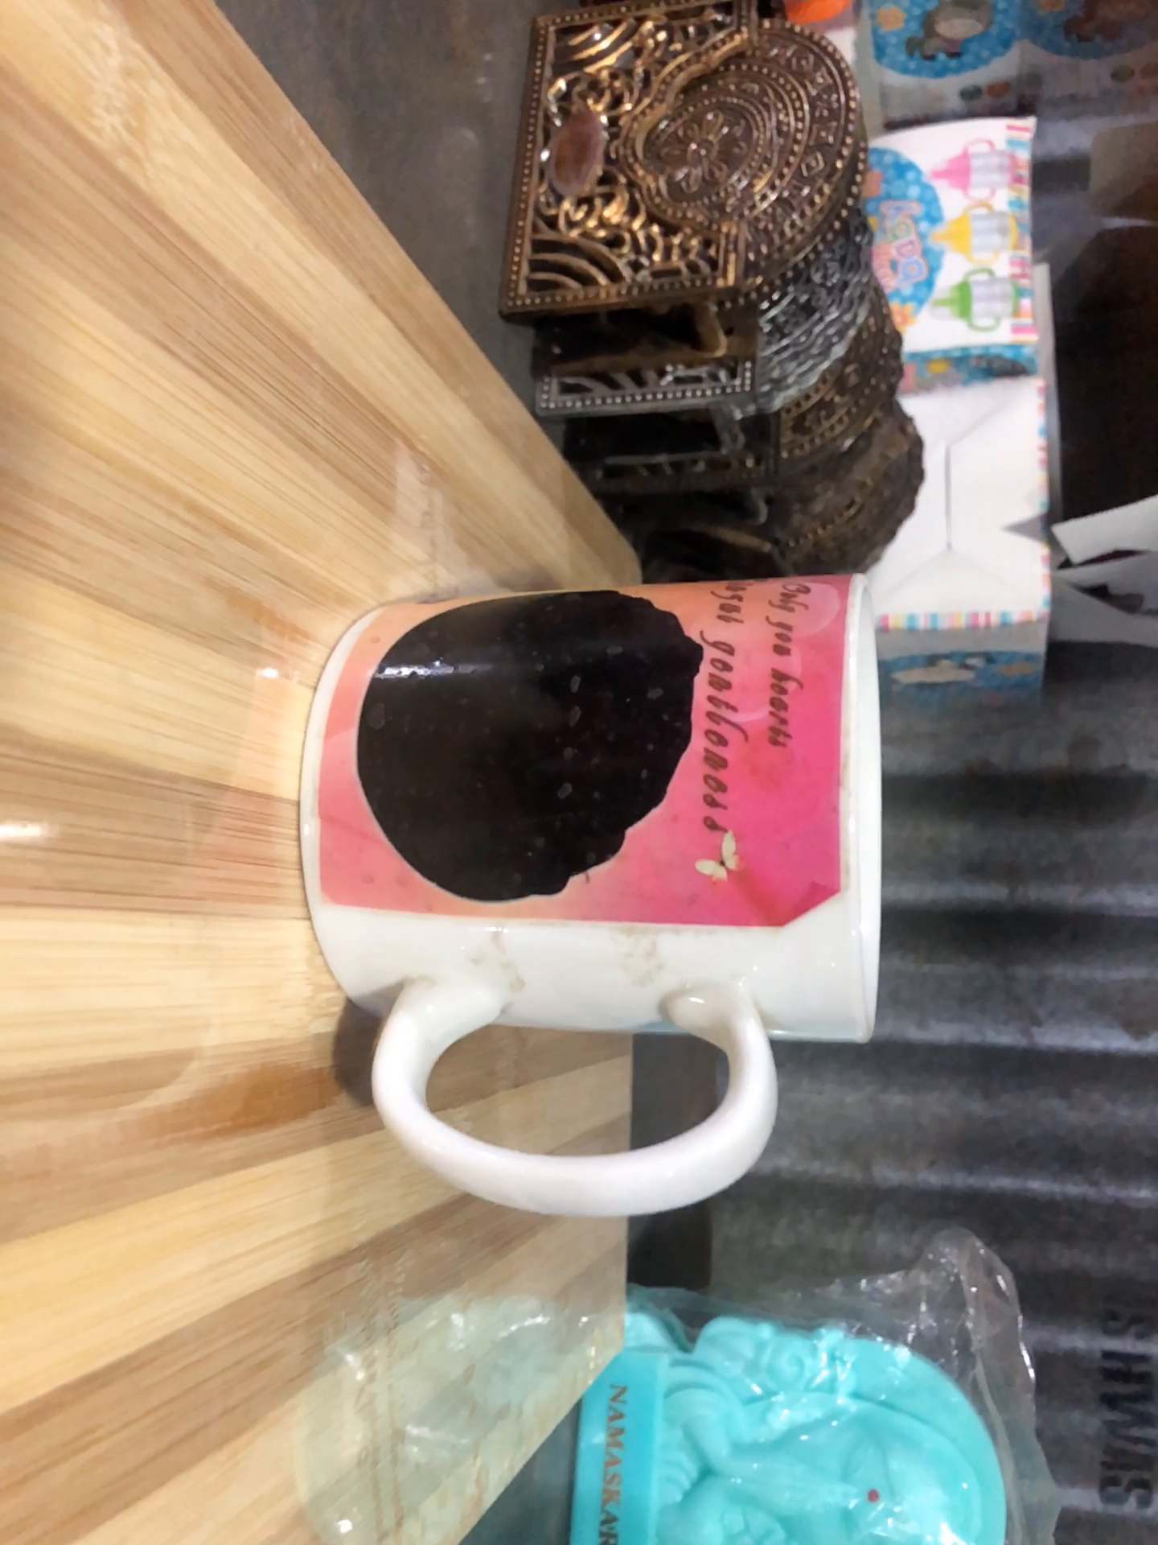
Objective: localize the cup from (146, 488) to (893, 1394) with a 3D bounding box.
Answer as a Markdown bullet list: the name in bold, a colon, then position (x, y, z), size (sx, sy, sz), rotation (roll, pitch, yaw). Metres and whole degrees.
- **cup**: position (0.007, 0.026, 0.227), size (0.090, 0.090, 0.120), rotation (74, 22, -47)
